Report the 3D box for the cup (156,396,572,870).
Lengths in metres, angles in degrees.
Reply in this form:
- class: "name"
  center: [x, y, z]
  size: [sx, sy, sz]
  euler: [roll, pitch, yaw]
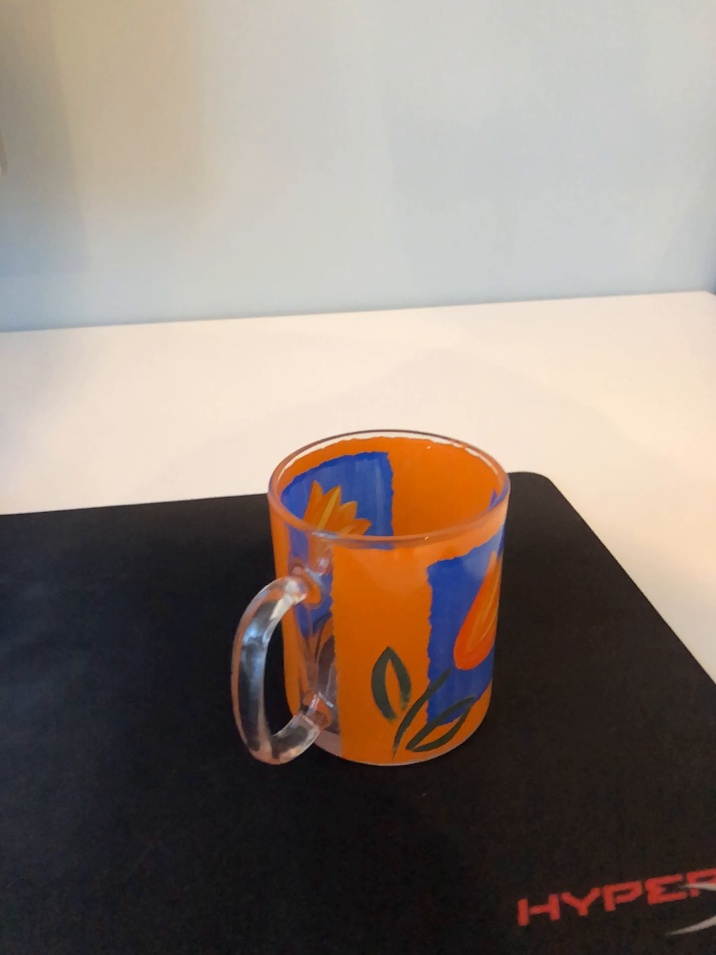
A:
- class: "cup"
  center: [0.007, 0.040, 0.265]
  size: [0.075, 0.089, 0.114]
  euler: [19, 33, 33]
